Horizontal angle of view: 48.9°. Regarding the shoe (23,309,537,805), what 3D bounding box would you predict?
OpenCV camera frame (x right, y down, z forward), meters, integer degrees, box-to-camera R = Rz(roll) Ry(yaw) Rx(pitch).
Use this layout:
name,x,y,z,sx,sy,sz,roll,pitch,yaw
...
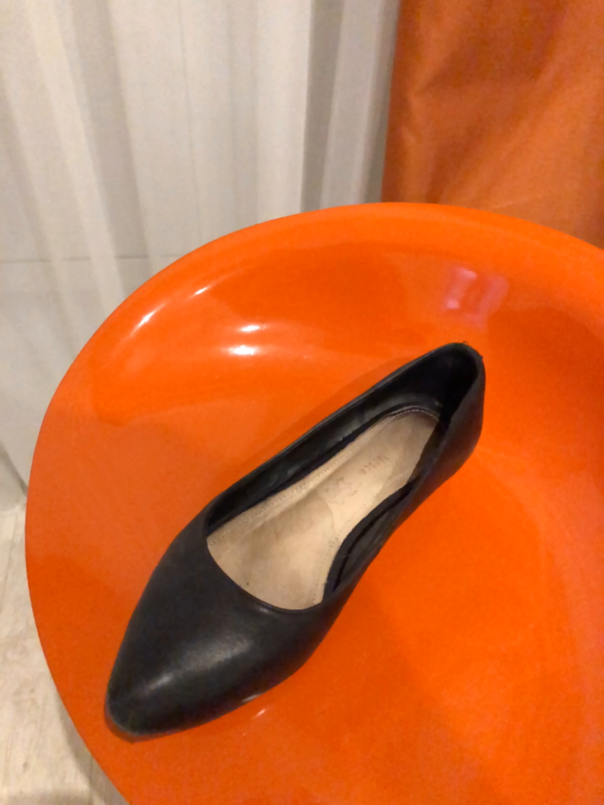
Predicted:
name,x,y,z,sx,sy,sz,roll,pitch,yaw
shoe,0.007,0.063,0.346,0.090,0.079,0.261,35,55,26
